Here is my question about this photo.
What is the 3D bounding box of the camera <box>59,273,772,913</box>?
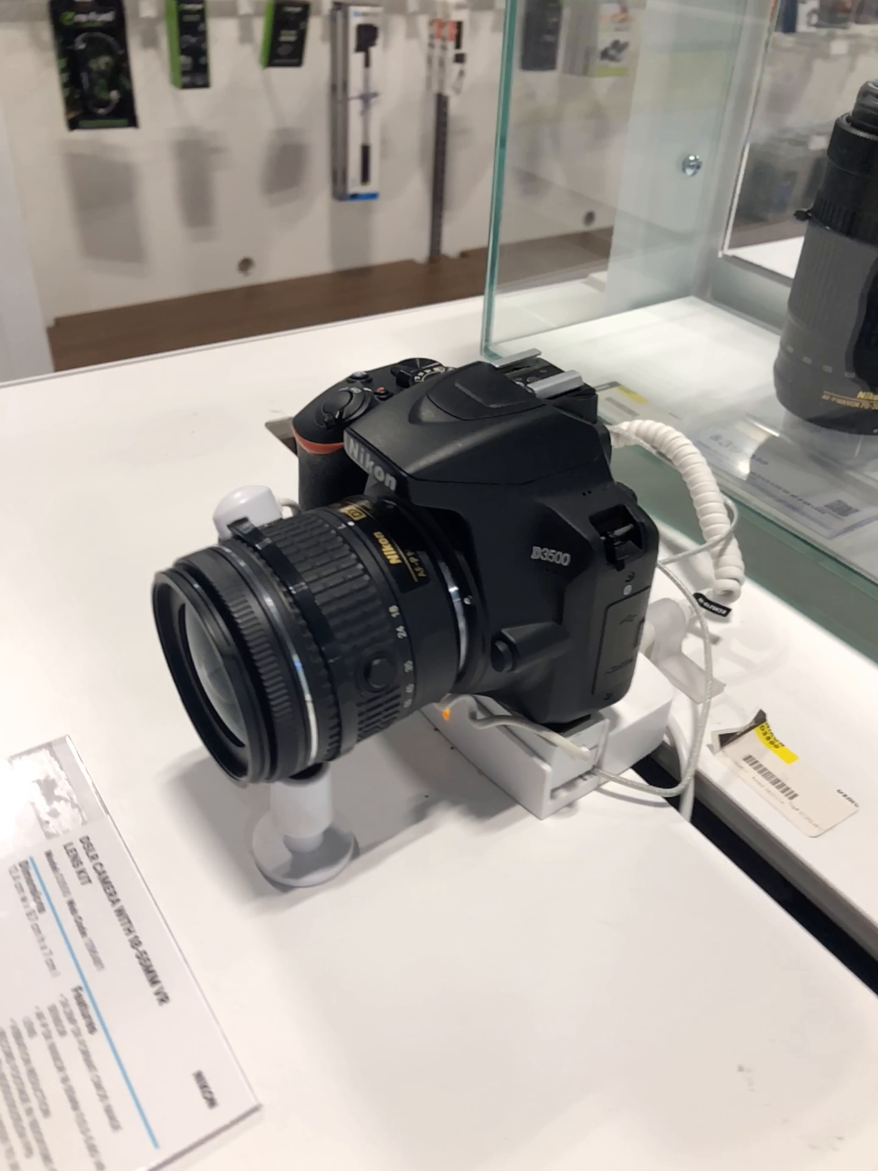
[{"bbox_3d":[-0.011,-0.014,0.273,0.130,0.089,0.132,-22,43,-31],"label":"camera"}]
